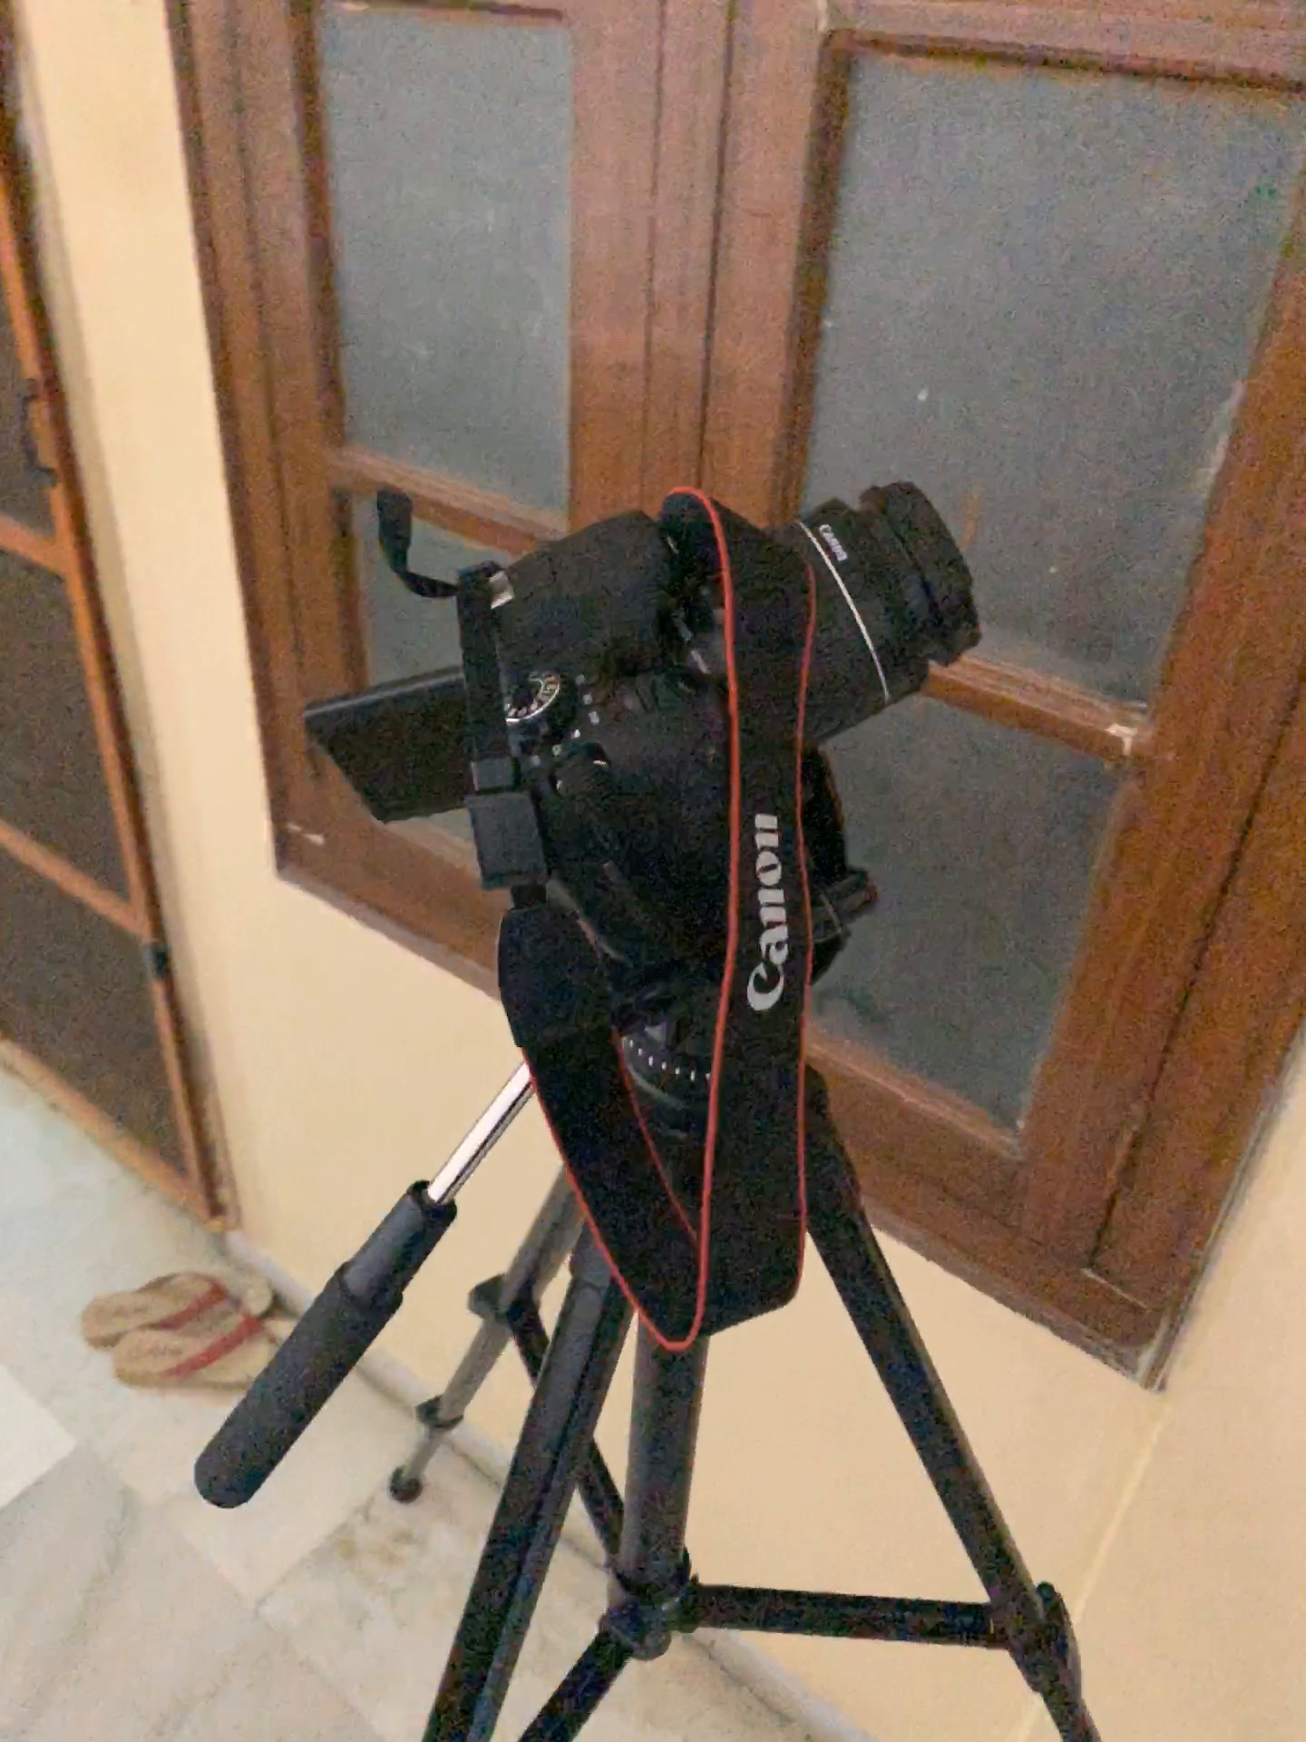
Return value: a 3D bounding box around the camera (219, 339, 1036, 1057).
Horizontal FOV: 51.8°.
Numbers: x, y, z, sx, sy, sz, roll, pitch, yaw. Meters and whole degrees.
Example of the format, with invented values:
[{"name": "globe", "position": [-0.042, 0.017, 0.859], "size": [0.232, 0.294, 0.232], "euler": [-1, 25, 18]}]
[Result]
[{"name": "camera", "position": [-0.015, -0.065, 0.453], "size": [0.225, 0.100, 0.142], "euler": [-26, 39, -1]}]
